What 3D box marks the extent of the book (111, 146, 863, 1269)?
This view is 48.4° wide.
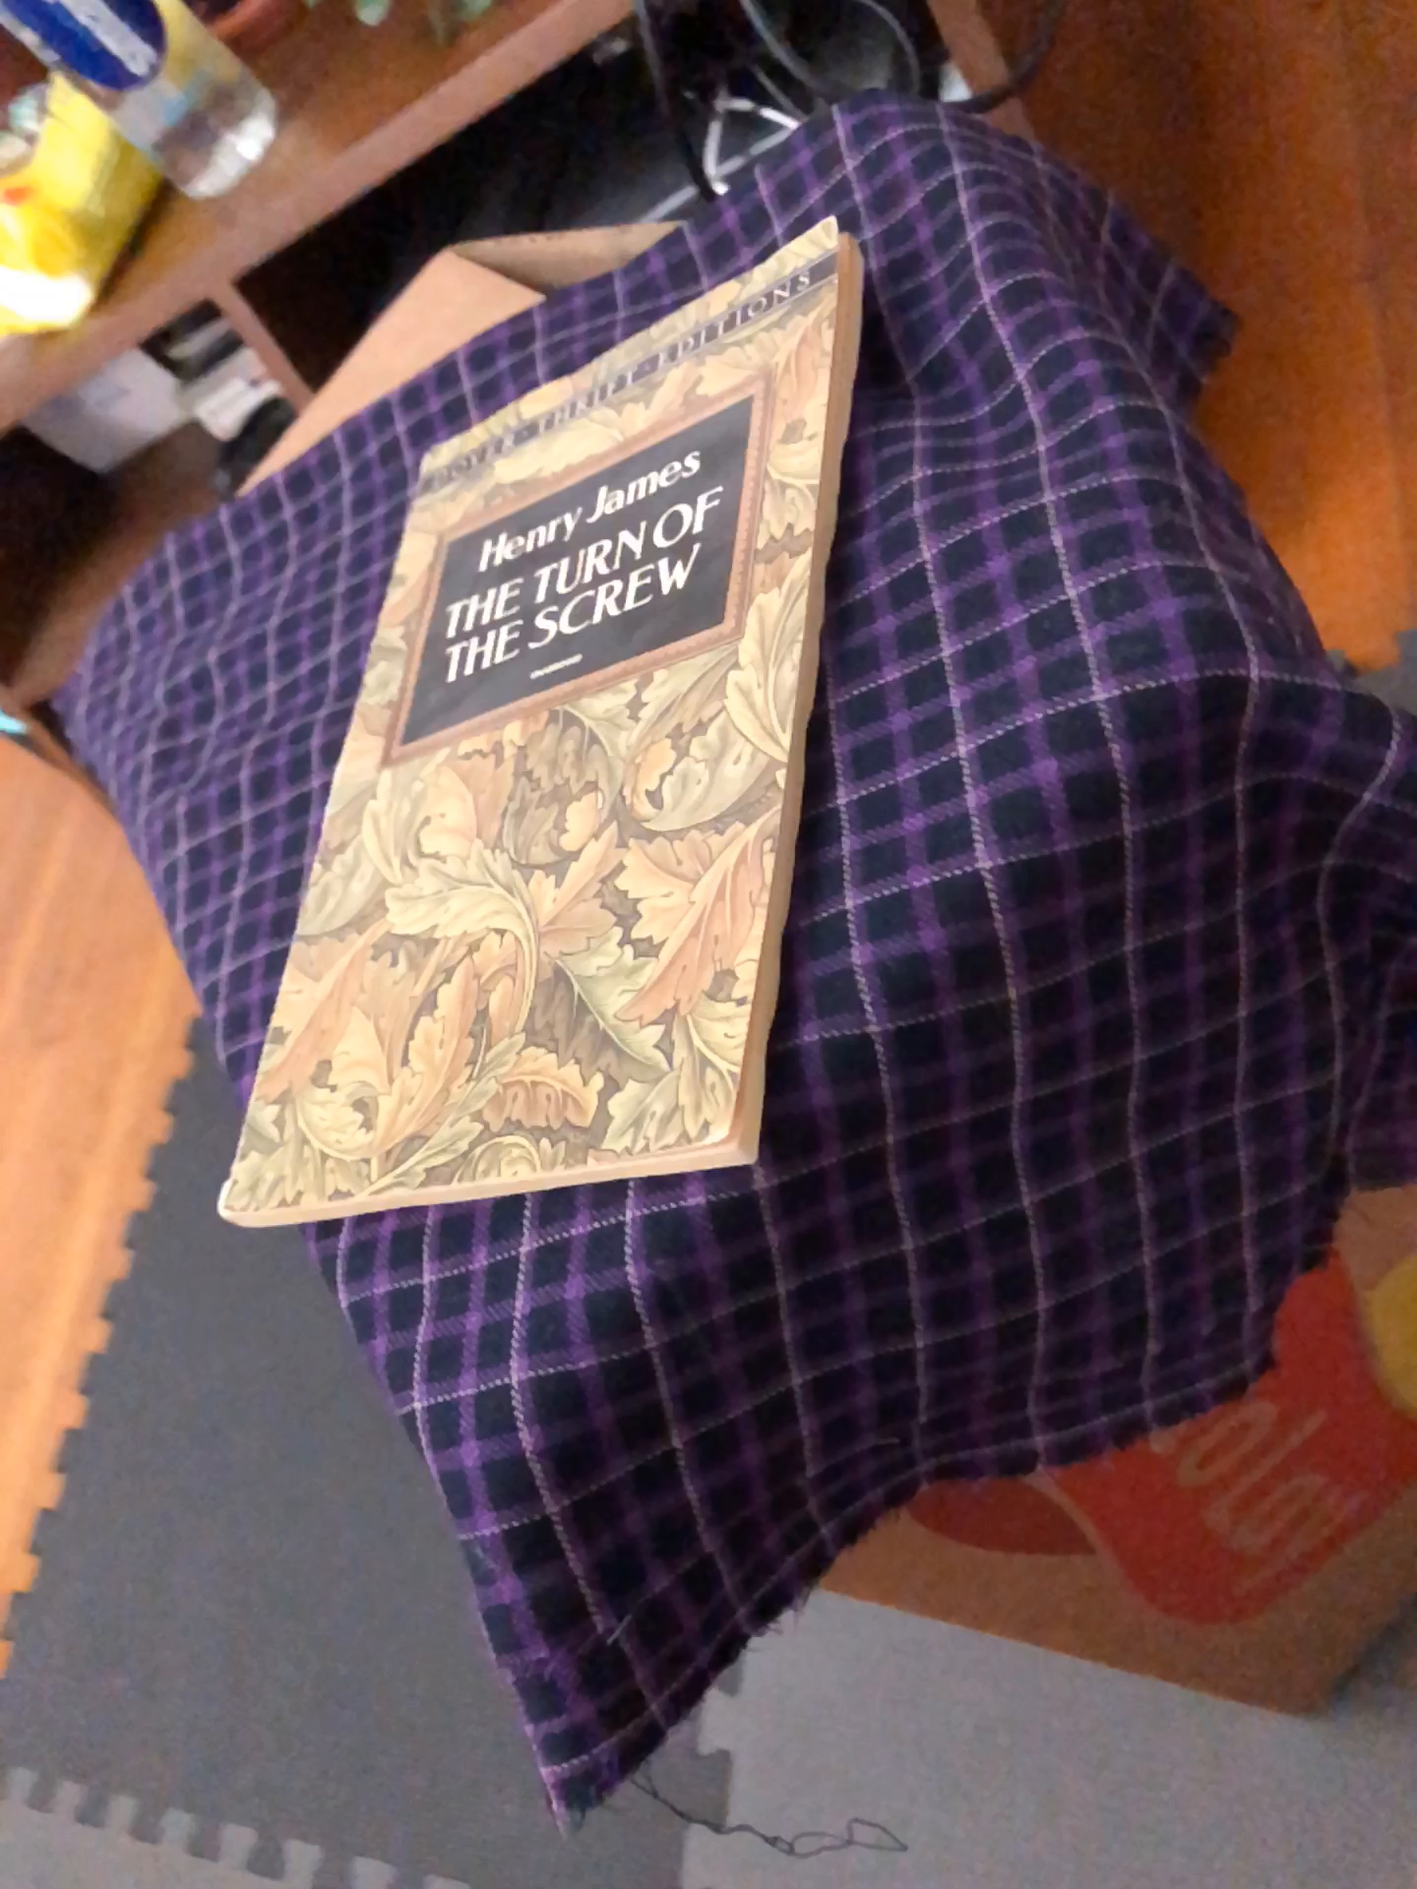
[{"bbox_3d":[-0.040,-0.050,0.312,0.140,0.010,0.221,-13,56,35],"label":"book"}]
